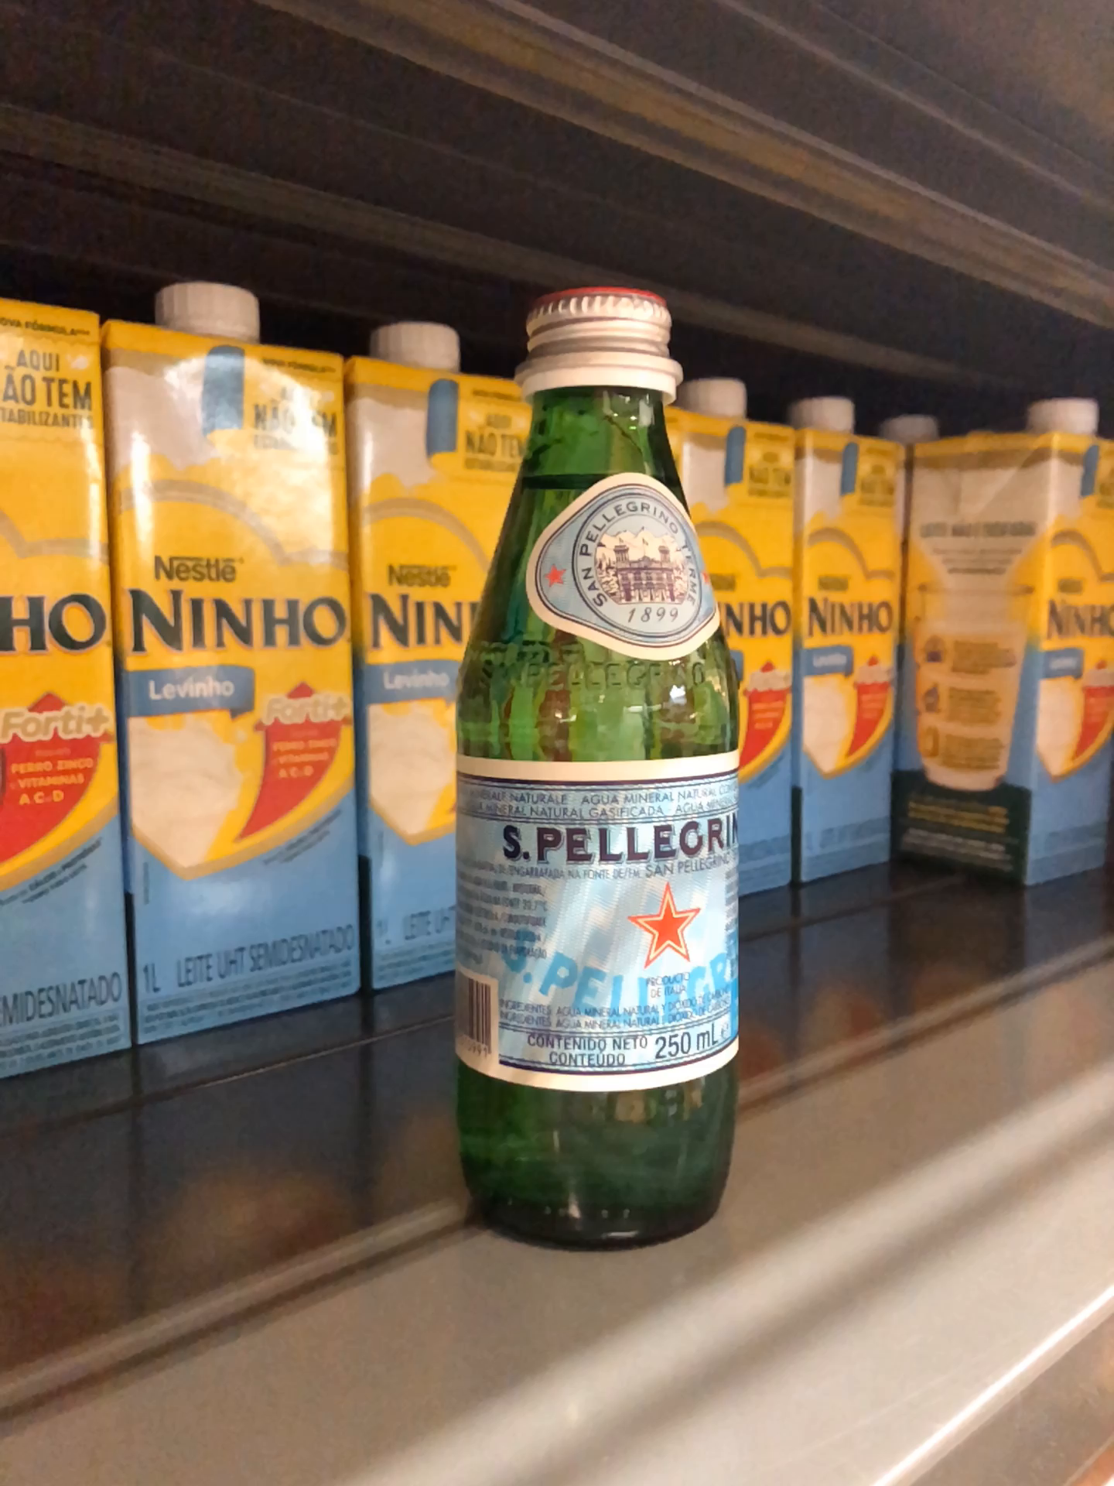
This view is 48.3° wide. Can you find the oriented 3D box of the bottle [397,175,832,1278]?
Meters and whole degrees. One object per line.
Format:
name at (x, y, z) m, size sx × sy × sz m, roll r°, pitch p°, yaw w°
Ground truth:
bottle at (0.008, -0.003, 0.242) m, size 0.060 × 0.180 × 0.060 m, roll 0°, pitch 5°, yaw 0°
